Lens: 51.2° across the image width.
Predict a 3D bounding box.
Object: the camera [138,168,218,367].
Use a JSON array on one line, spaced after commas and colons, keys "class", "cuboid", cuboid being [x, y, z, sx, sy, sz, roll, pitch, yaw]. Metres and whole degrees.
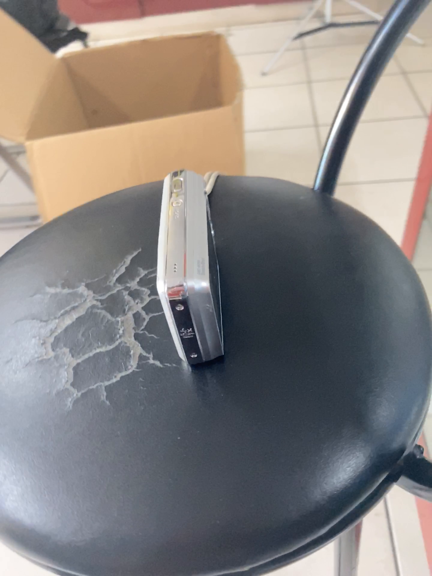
[{"class": "camera", "cuboid": [-0.017, -0.014, 0.223, 0.026, 0.044, 0.093, -6, 45, 3]}]
